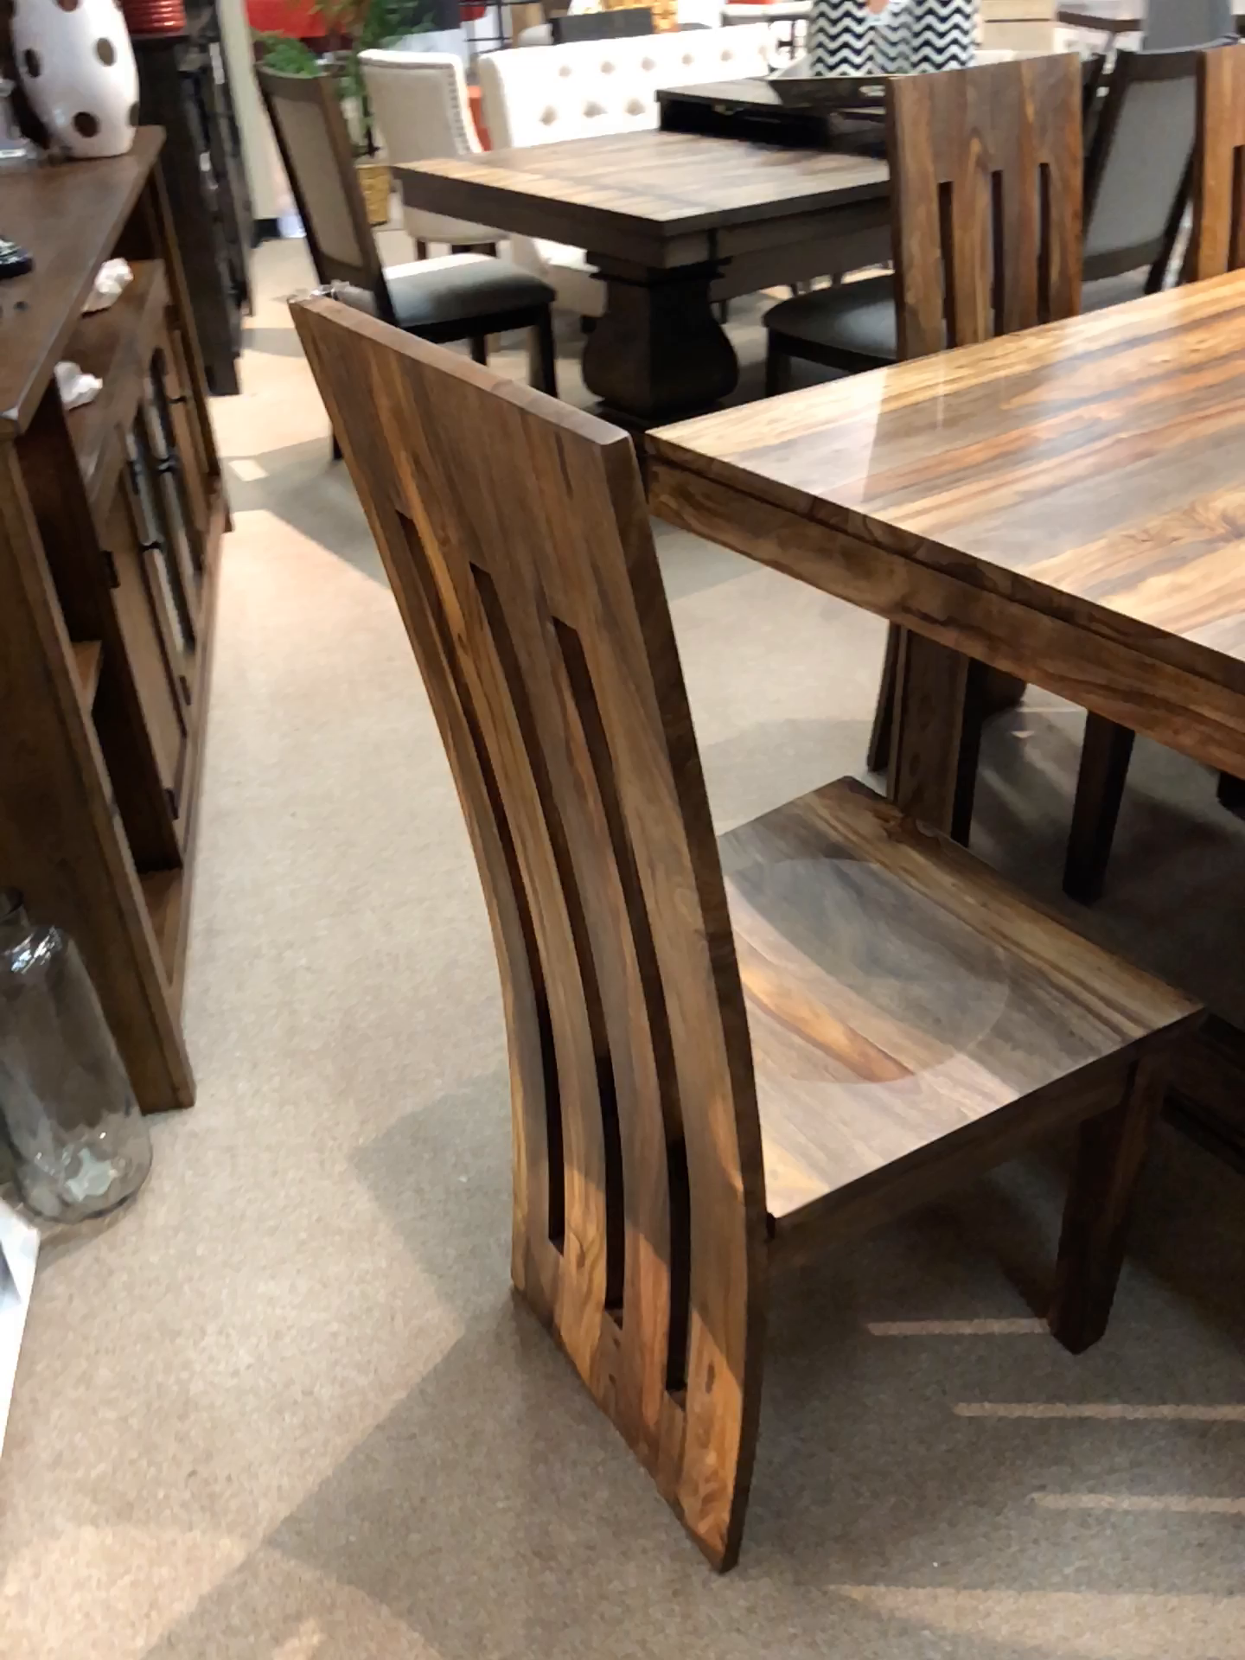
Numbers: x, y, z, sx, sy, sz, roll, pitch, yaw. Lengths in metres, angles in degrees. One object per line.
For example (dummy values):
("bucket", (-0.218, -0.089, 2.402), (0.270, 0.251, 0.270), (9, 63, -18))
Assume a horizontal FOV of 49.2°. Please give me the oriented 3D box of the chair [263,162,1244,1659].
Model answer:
("chair", (0.158, 0.056, 1.162), (0.591, 1.023, 0.513), (-21, 38, -26))
